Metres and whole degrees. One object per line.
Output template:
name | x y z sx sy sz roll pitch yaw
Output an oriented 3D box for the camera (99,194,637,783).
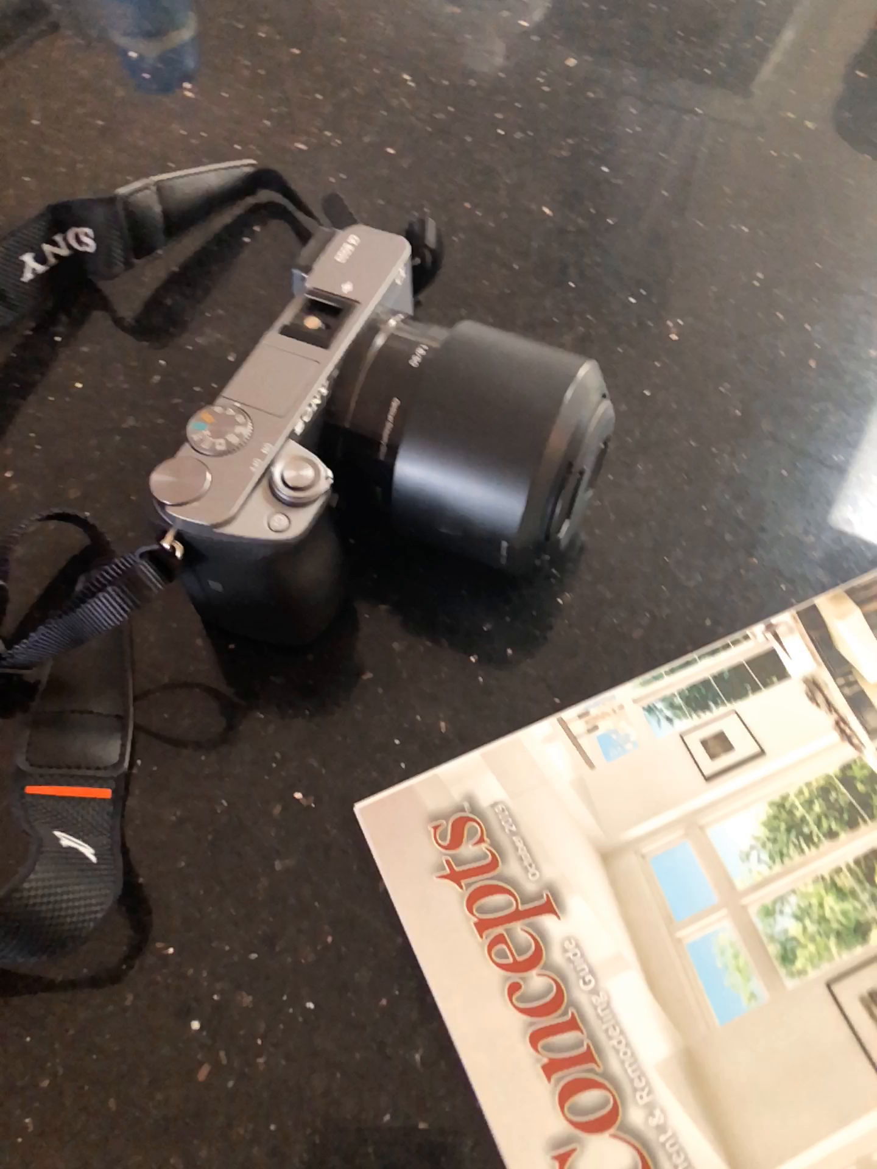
camera | -0.014 -0.029 0.307 0.099 0.100 0.127 22 63 12
